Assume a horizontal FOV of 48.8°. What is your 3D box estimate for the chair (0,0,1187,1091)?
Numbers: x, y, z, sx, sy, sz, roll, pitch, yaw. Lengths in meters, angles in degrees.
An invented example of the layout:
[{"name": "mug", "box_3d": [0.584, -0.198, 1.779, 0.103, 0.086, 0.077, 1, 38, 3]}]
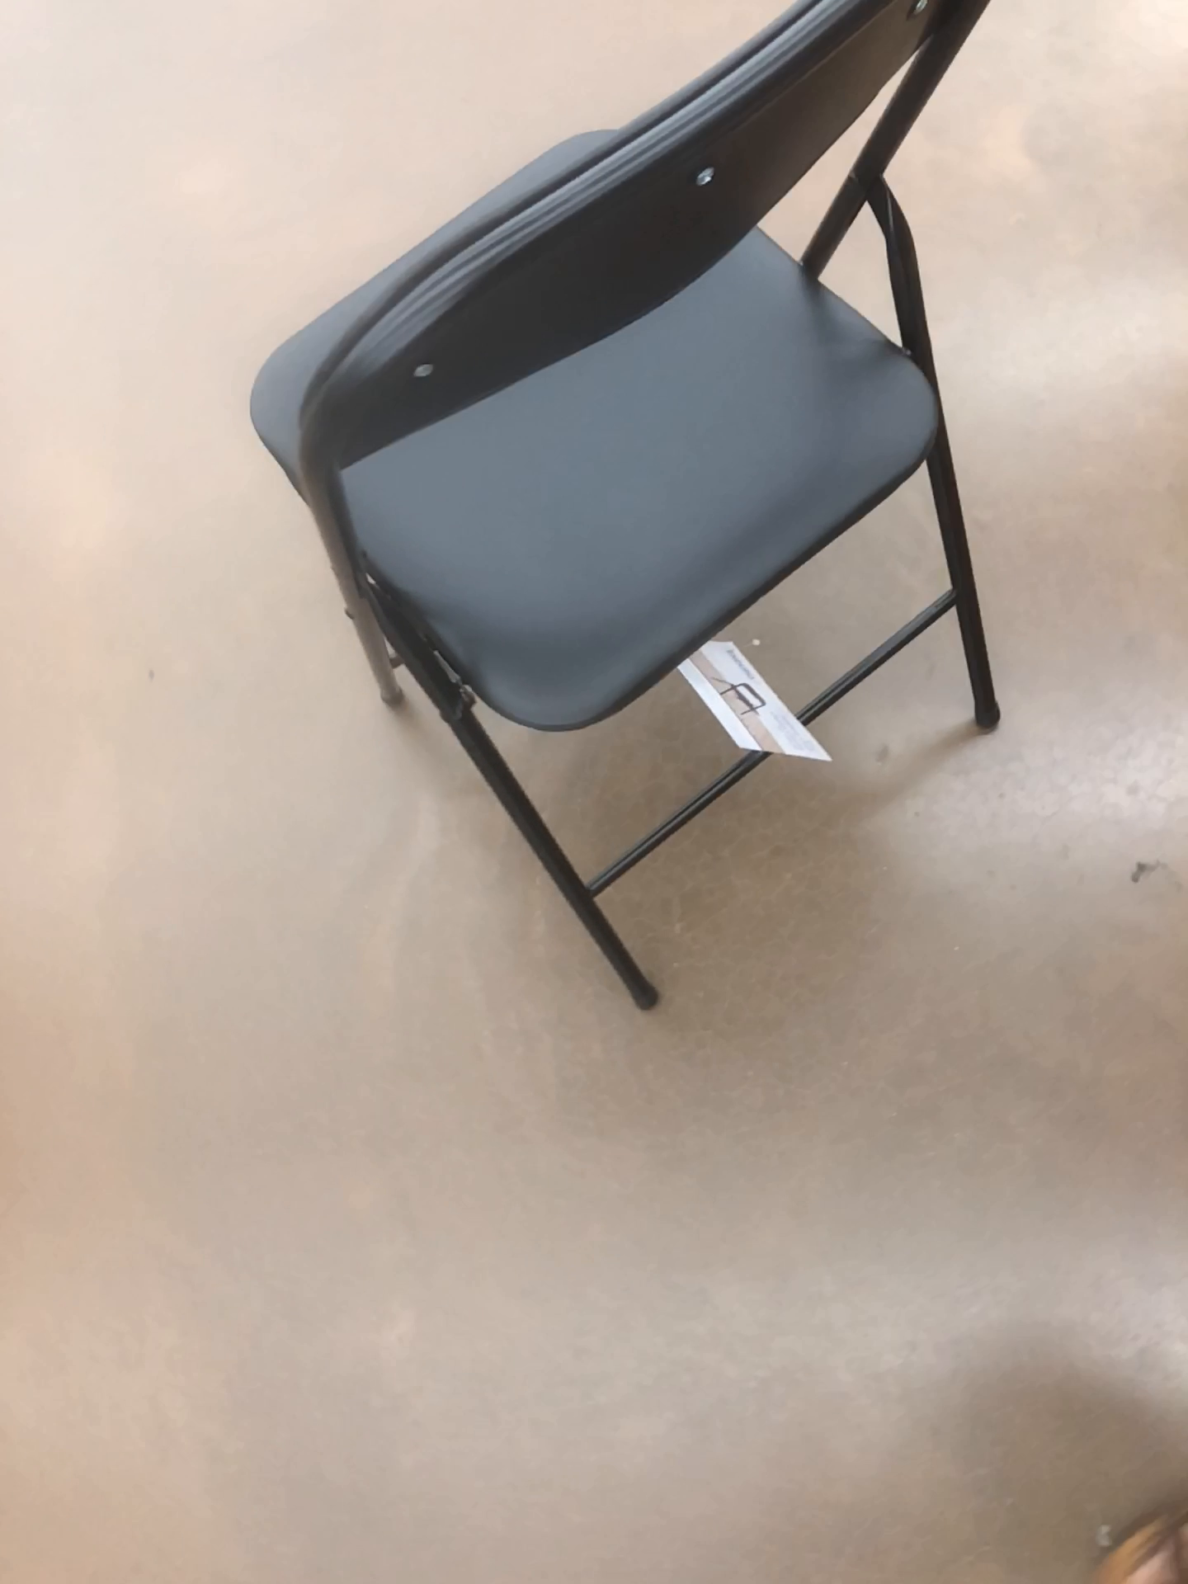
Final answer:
[{"name": "chair", "box_3d": [0.021, -0.232, 0.885, 0.520, 0.759, 0.491, -40, 65, -8]}]
